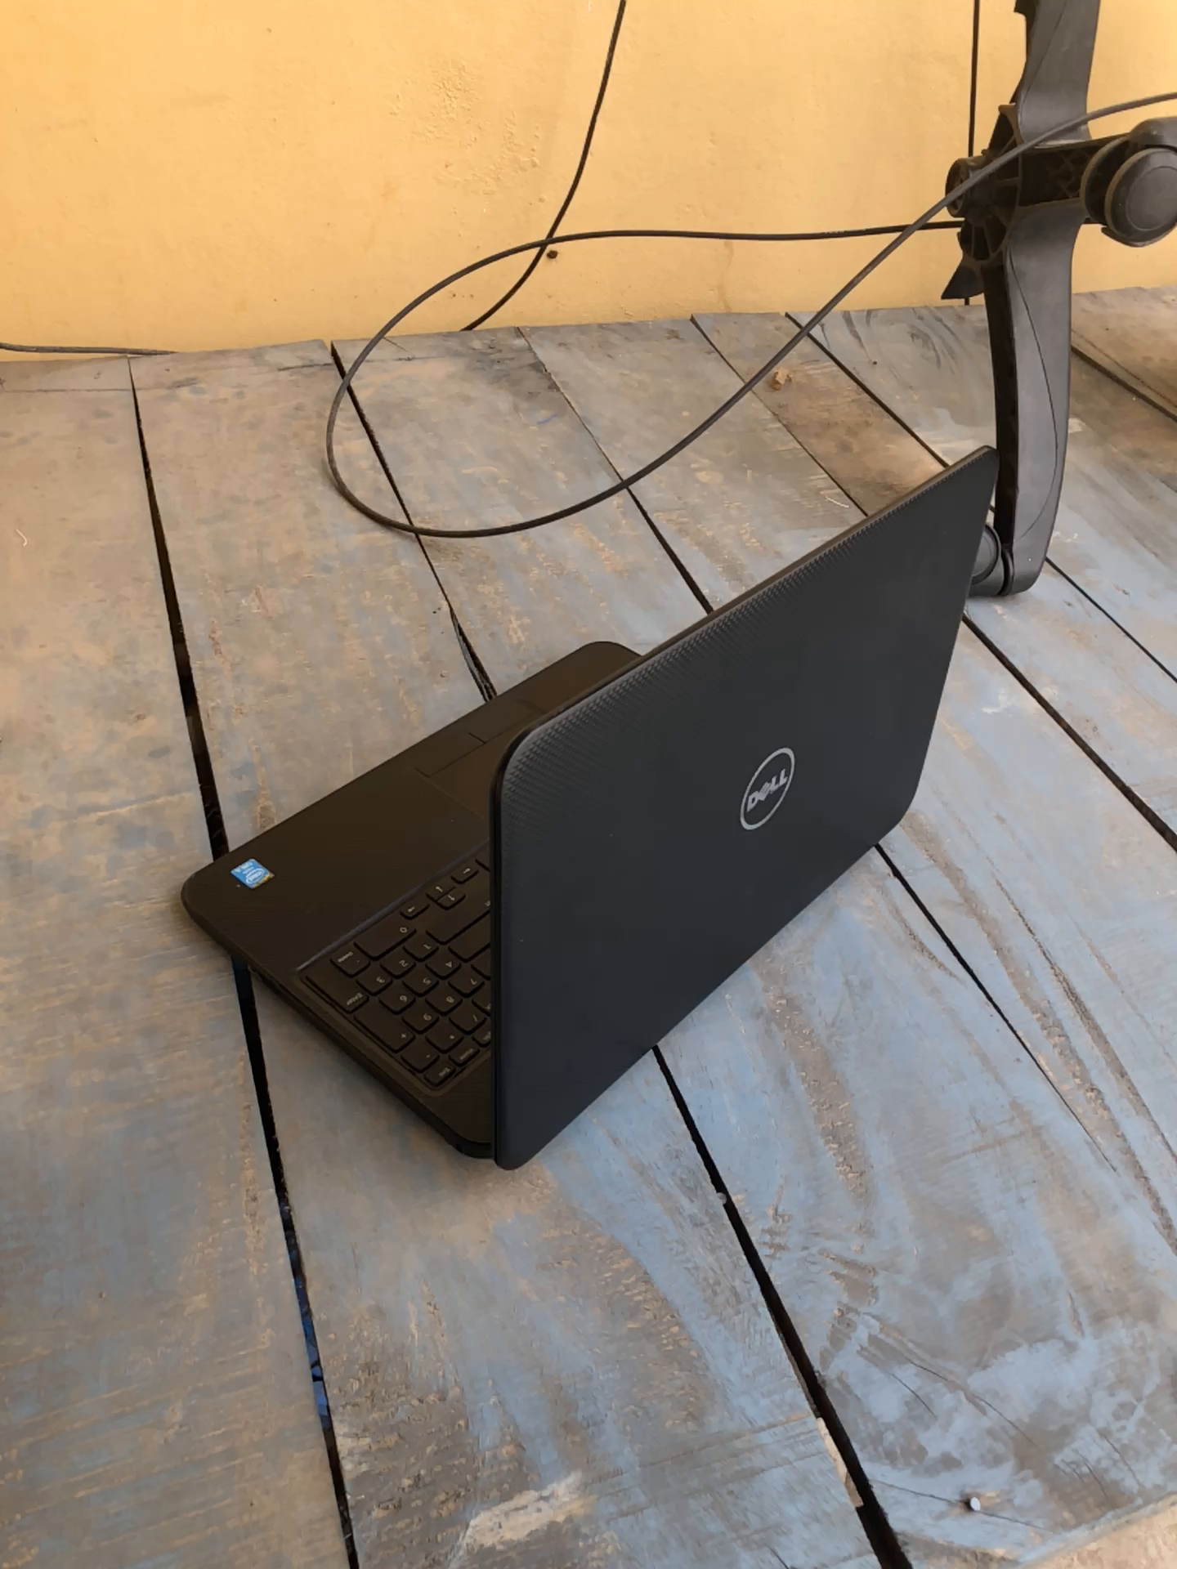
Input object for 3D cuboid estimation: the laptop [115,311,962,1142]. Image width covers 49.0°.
[{"bbox_3d":[-0.013,-0.056,0.677,0.225,0.234,0.341,34,48,29],"label":"laptop"}]
